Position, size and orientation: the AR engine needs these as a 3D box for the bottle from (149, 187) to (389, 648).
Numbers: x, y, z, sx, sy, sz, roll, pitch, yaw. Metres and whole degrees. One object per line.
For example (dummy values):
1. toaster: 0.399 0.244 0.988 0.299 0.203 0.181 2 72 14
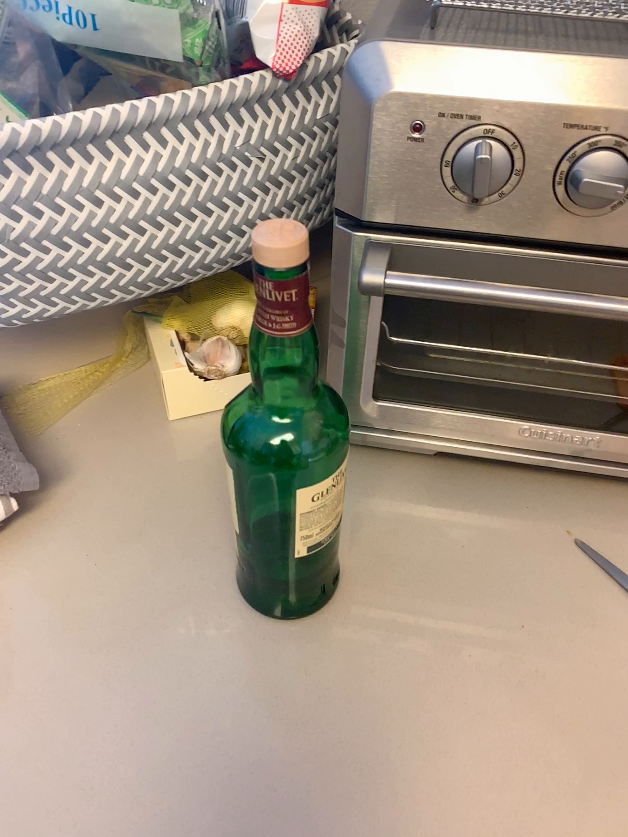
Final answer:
1. bottle: -0.021 0.018 0.391 0.080 0.278 0.080 1 42 -1
